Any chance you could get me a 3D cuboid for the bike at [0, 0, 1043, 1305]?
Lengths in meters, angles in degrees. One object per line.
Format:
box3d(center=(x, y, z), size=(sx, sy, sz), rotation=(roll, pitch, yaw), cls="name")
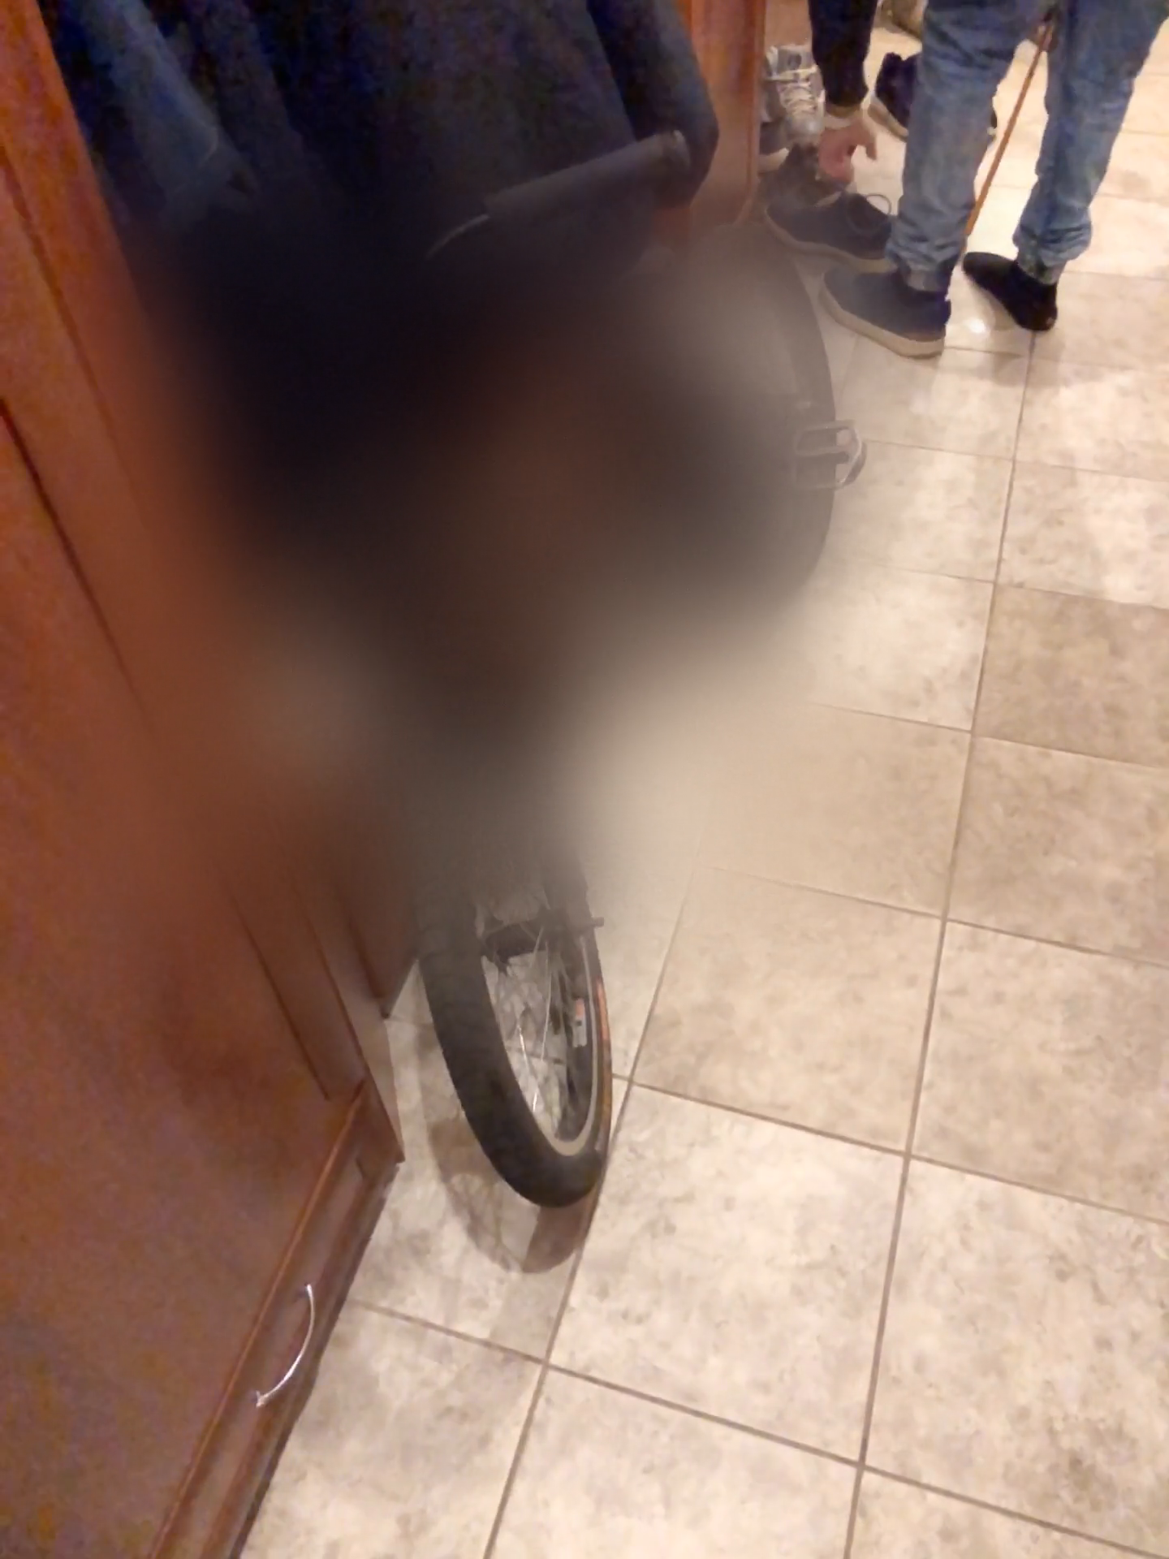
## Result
box3d(center=(0.051, -0.345, 1.333), size=(0.526, 0.854, 1.358), rotation=(13, 50, 15), cls="bike")
